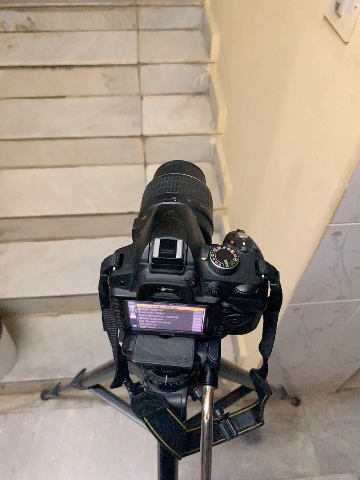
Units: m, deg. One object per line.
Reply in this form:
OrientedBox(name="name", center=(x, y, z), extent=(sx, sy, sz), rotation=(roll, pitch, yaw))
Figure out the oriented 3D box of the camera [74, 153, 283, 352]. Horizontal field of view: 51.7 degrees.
OrientedBox(name="camera", center=(0.002, 0.008, 0.312), extent=(0.134, 0.090, 0.130), rotation=(4, 51, 2))
